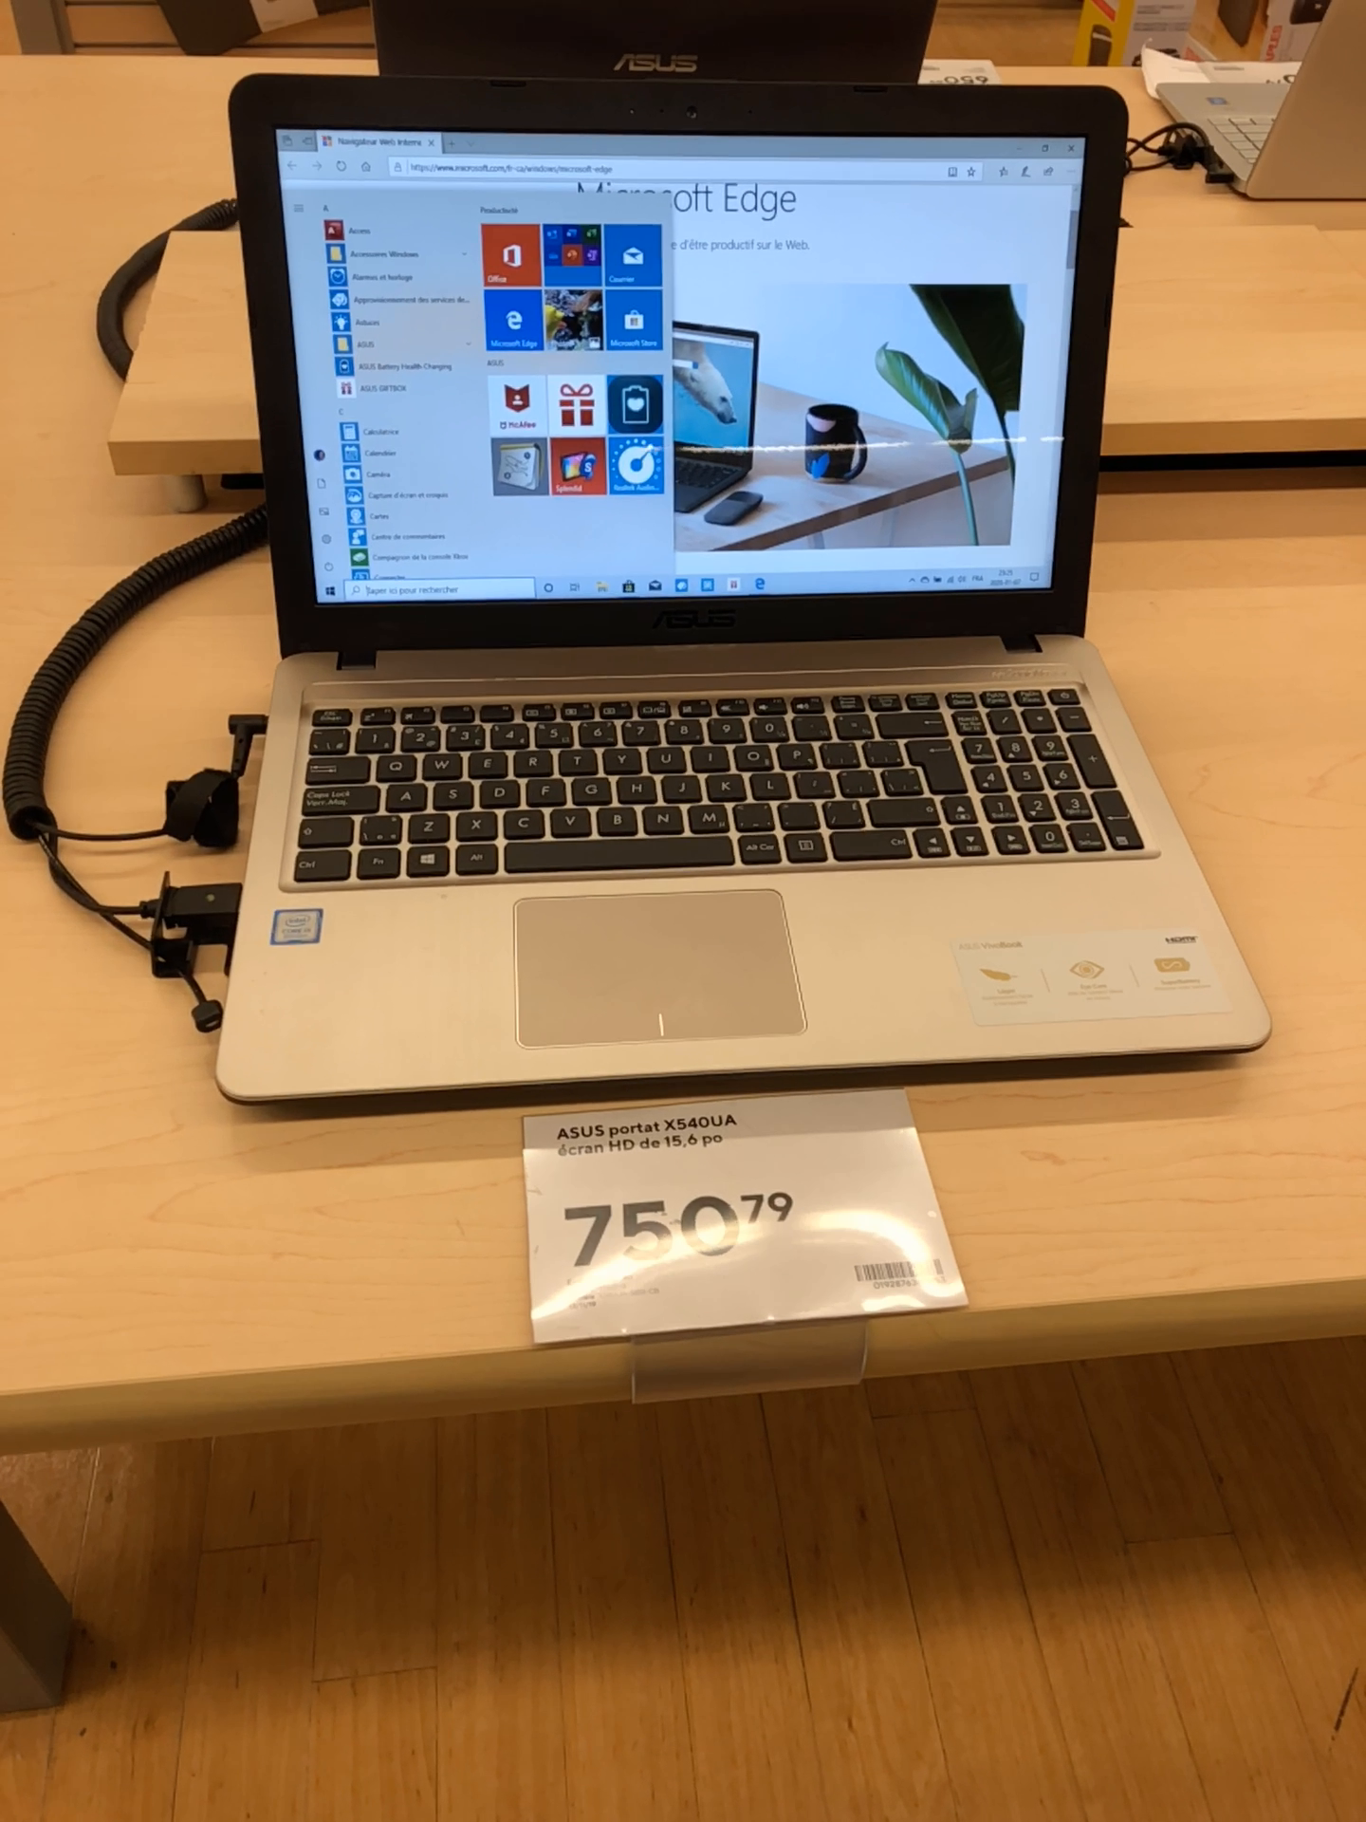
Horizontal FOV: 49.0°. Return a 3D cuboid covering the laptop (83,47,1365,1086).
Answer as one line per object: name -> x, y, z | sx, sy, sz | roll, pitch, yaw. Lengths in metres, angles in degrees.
laptop -> 0.011, -0.155, 0.603 | 0.383, 0.215, 0.361 | -3, 48, -7
